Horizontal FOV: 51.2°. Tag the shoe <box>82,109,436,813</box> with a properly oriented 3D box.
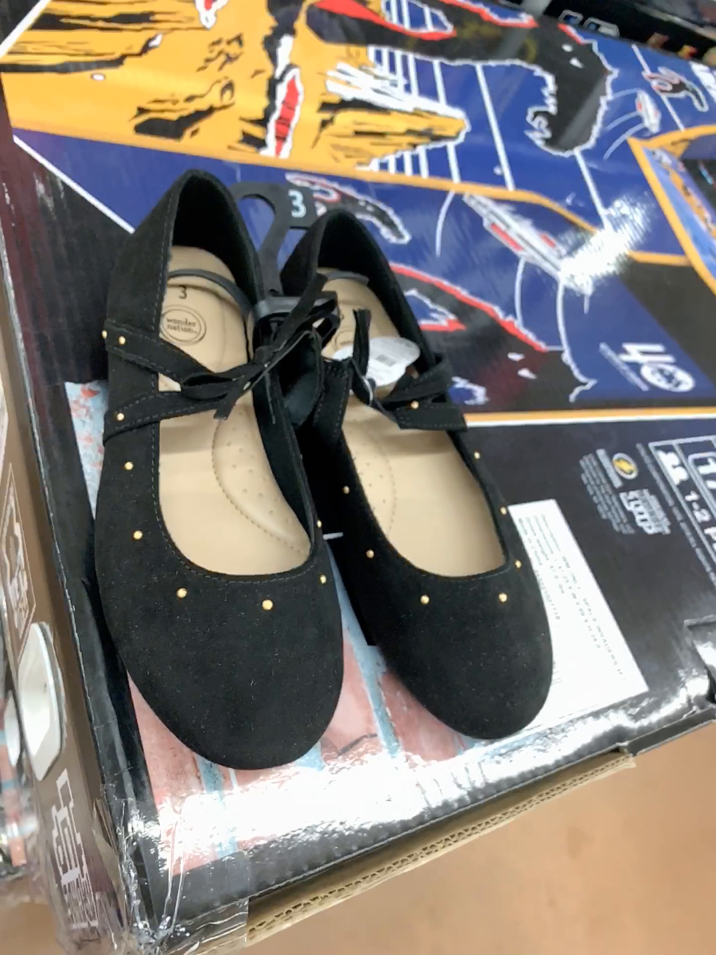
[{"bbox_3d":[-0.051,-0.015,0.279,0.090,0.070,0.240,3,62,-26],"label":"shoe"}]

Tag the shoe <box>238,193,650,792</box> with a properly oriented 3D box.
[{"bbox_3d":[0.025,-0.004,0.340,0.090,0.070,0.250,-5,66,-29],"label":"shoe"}]
